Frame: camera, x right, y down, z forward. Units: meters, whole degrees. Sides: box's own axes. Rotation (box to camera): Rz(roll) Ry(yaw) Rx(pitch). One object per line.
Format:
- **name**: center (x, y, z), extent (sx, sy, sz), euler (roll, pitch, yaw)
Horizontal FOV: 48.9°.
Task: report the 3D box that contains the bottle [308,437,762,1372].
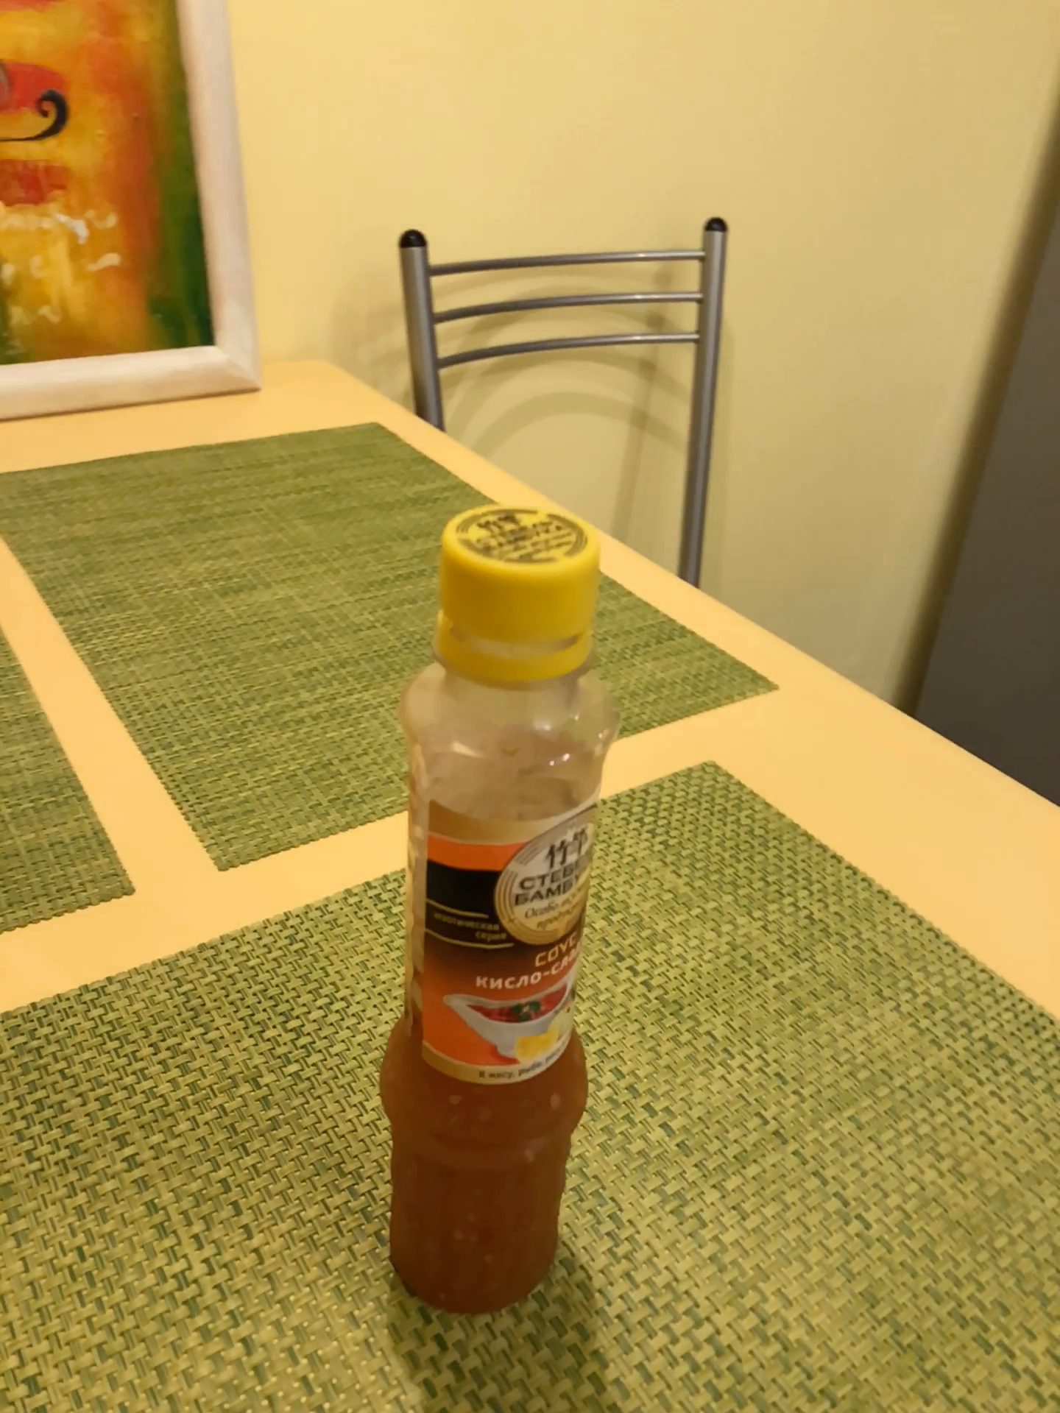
- **bottle**: center (-0.007, 0.053, 0.270), extent (0.060, 0.208, 0.060), euler (4, 31, -2)
